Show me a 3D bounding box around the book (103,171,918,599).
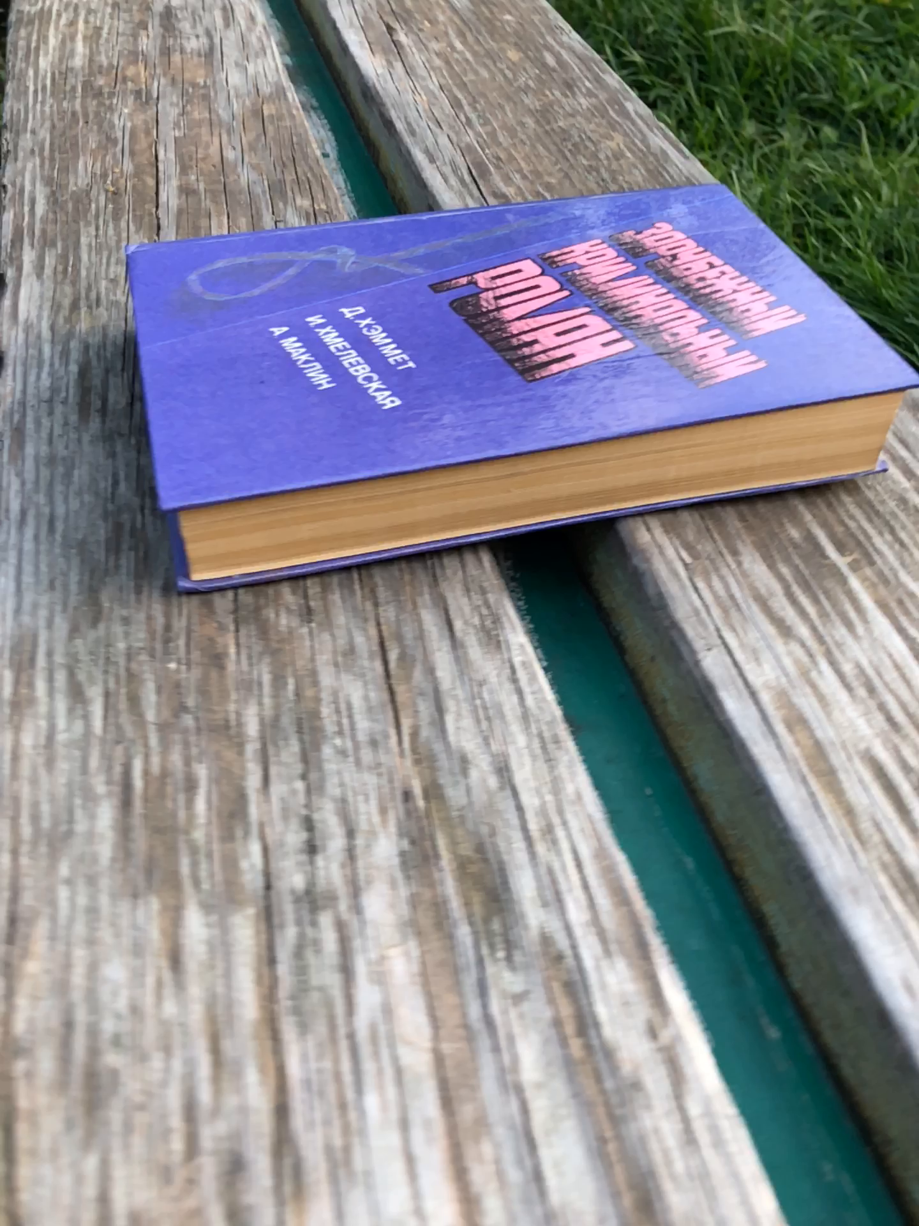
[{"bbox_3d":[0.007,-0.078,0.300,0.204,0.030,0.131,-11,48,-12],"label":"book"}]
